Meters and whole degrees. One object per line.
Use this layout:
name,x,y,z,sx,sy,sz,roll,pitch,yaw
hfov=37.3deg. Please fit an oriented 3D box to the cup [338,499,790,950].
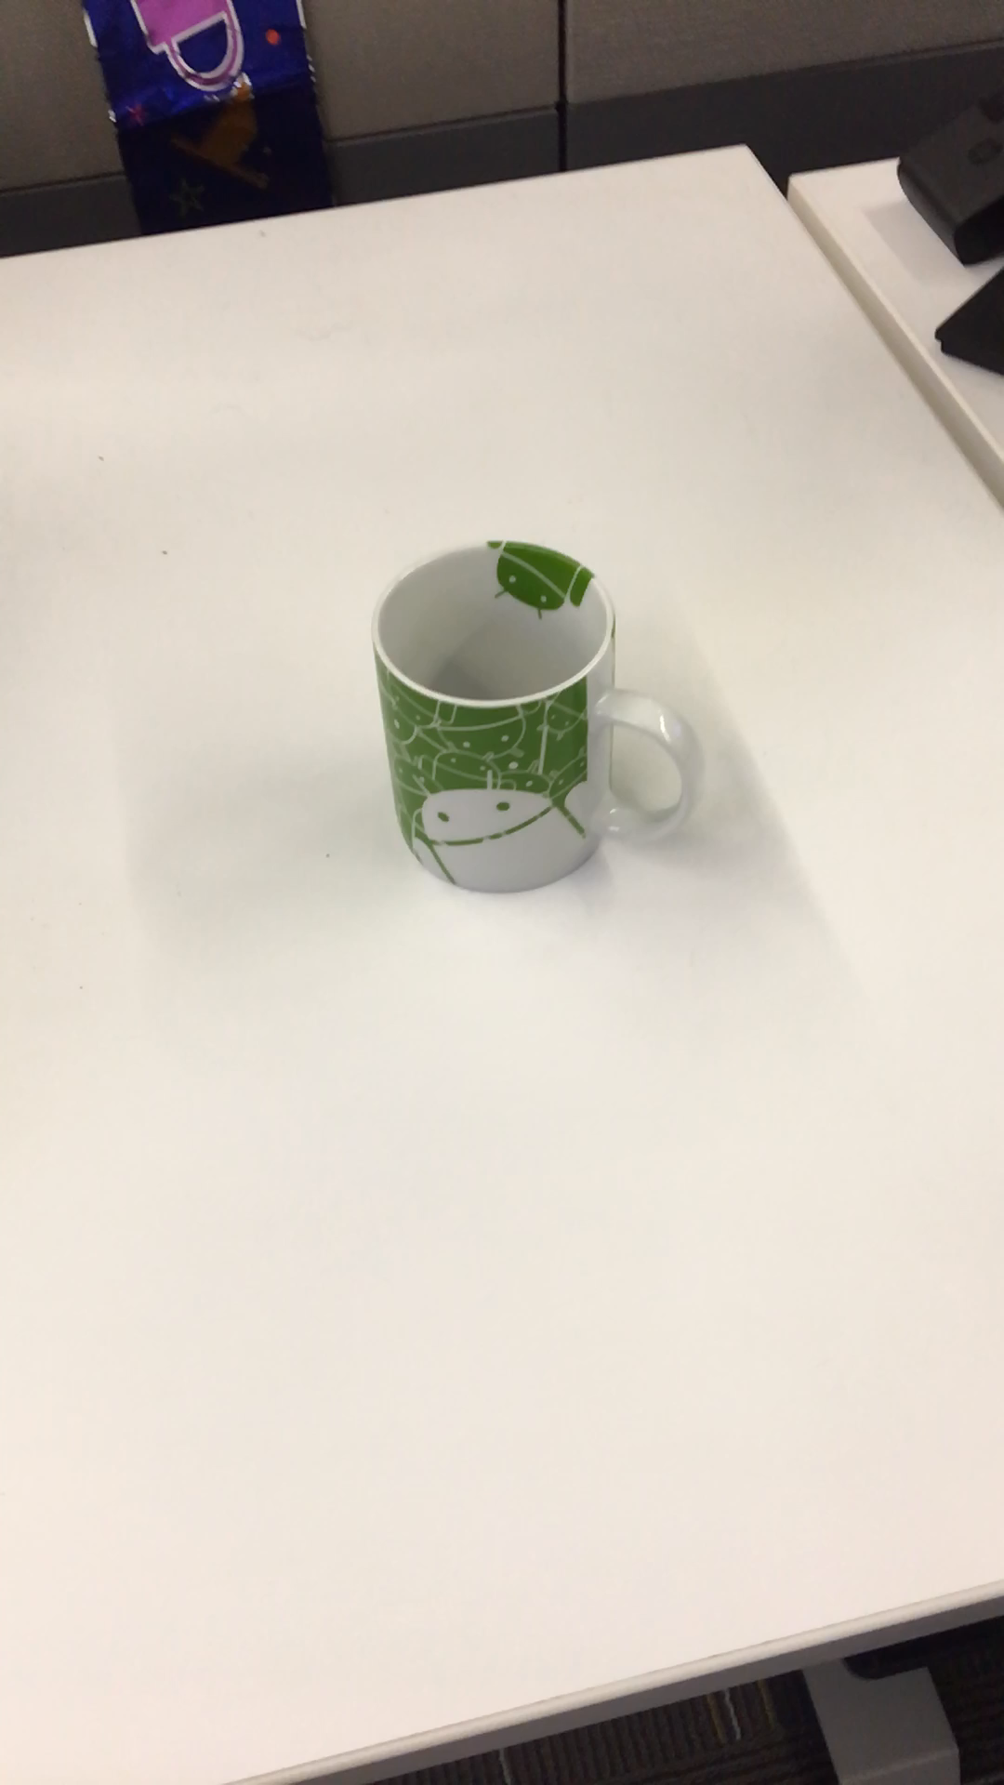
cup,0.023,-0.059,0.514,0.120,0.090,0.090,18,55,16
